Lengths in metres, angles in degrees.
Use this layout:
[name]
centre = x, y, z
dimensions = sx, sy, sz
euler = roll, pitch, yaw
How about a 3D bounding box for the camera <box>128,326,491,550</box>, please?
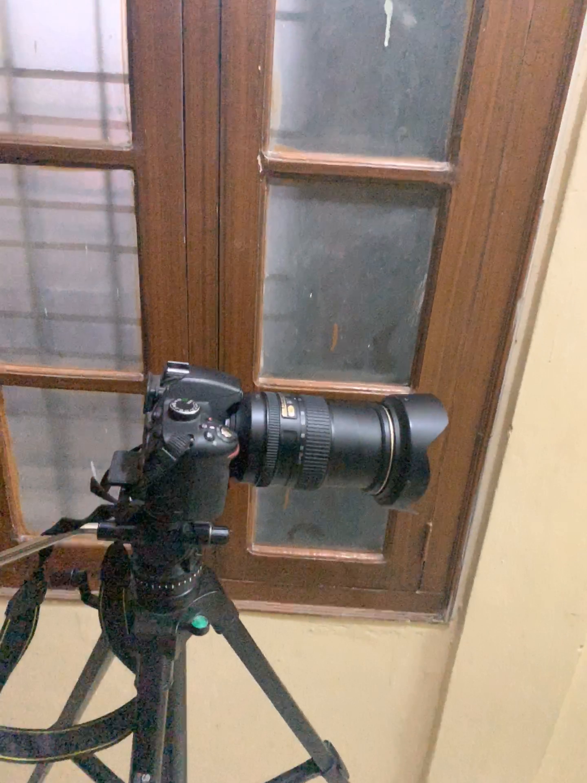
[camera]
centre = 0.006, 0.038, 0.530
dimensions = 0.270, 0.120, 0.130
euler = 7, 25, -8
